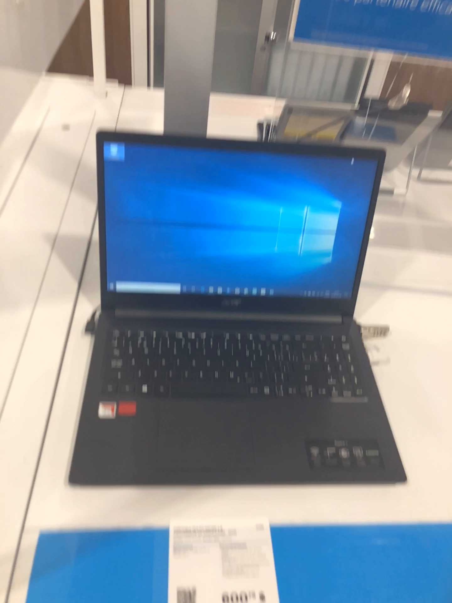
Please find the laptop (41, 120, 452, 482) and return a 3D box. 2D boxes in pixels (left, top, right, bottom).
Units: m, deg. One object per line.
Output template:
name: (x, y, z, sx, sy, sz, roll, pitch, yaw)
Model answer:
laptop: (0.021, -0.011, 0.588, 0.367, 0.212, 0.351, 2, 46, -6)
